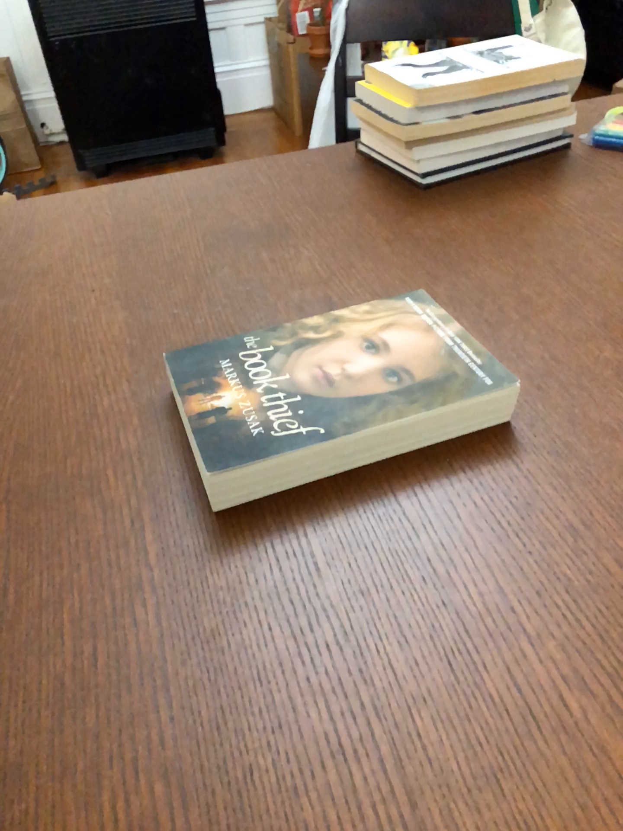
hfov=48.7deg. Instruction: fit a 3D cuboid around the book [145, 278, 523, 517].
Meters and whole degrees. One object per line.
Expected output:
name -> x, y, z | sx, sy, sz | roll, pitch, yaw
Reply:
book -> 0.008, -0.025, 0.480 | 0.220, 0.030, 0.151 | -16, 41, -12
